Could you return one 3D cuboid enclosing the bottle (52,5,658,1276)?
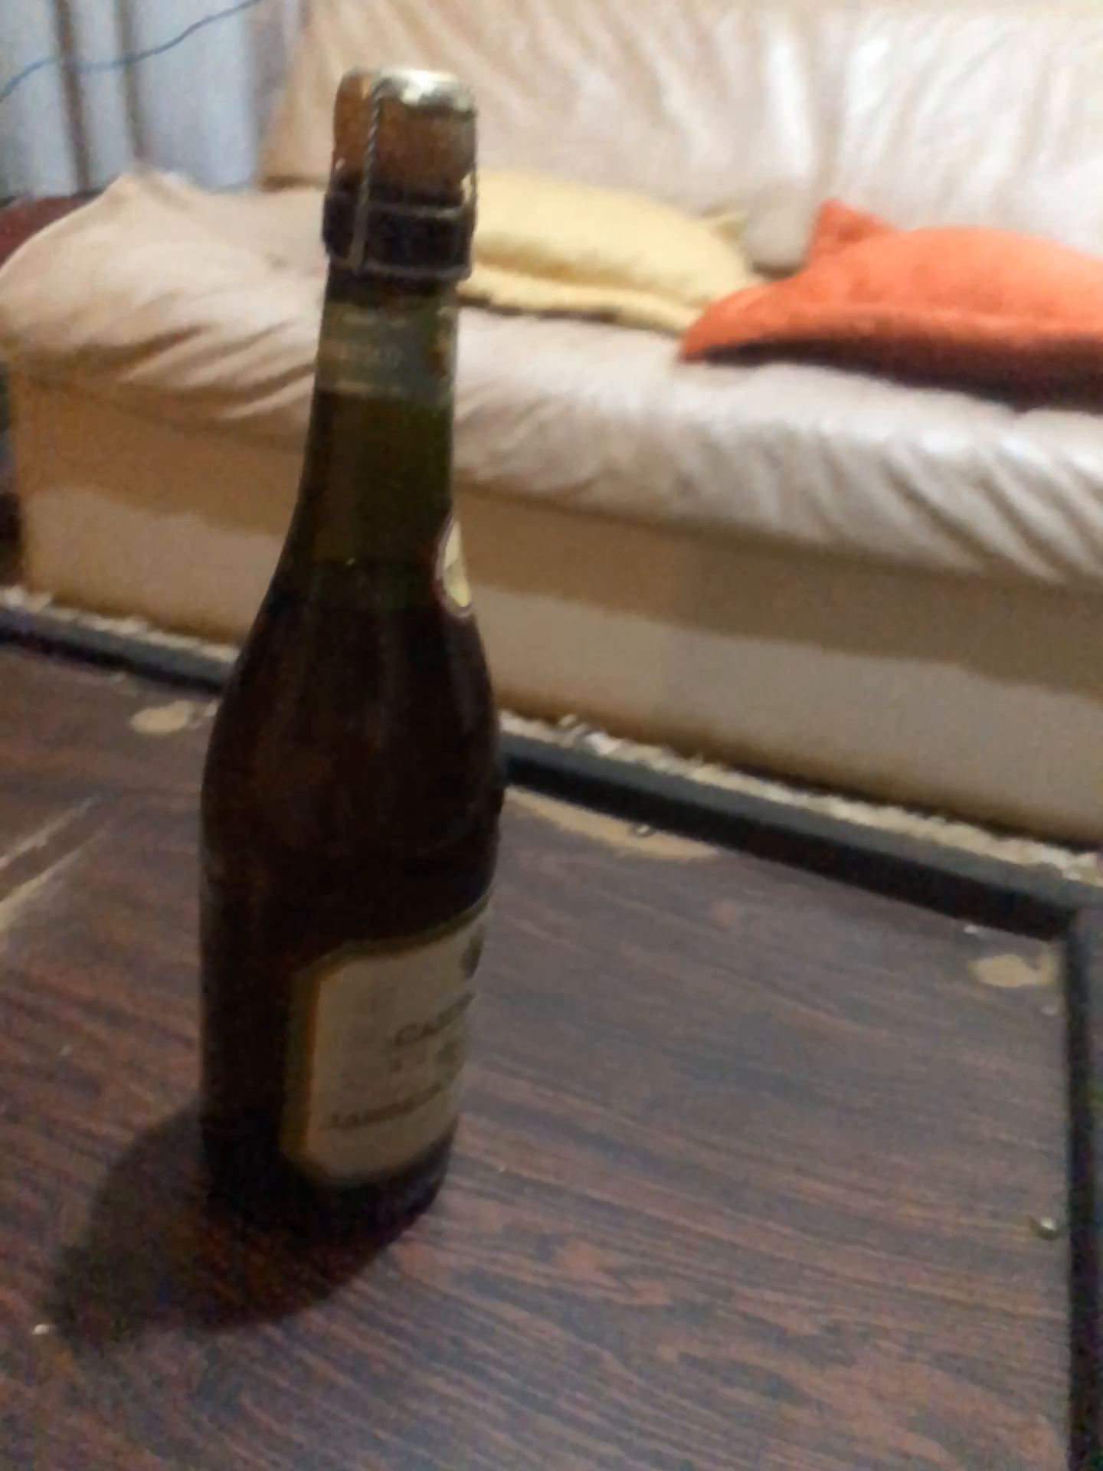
[{"bbox_3d":[-0.051,-0.013,0.324,0.090,0.298,0.091,5,27,-3],"label":"bottle"}]
